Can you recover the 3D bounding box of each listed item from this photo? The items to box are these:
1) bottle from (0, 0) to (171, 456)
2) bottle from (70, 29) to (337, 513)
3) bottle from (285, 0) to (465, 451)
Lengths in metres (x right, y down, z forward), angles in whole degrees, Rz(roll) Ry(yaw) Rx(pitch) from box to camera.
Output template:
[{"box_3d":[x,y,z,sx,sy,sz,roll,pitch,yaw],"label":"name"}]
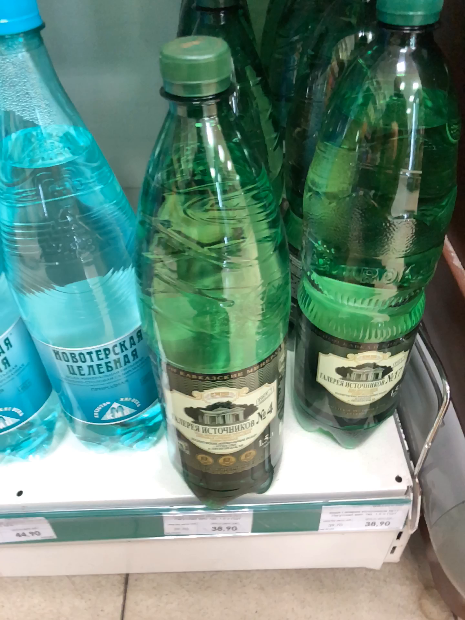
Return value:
[{"box_3d":[-0.099,-0.024,0.341,0.083,0.326,0.077,0,44,0],"label":"bottle"},{"box_3d":[-0.008,0.012,0.314,0.091,0.308,0.089,0,44,0],"label":"bottle"},{"box_3d":[0.095,-0.030,0.344,0.091,0.326,0.083,-1,44,-1],"label":"bottle"}]
